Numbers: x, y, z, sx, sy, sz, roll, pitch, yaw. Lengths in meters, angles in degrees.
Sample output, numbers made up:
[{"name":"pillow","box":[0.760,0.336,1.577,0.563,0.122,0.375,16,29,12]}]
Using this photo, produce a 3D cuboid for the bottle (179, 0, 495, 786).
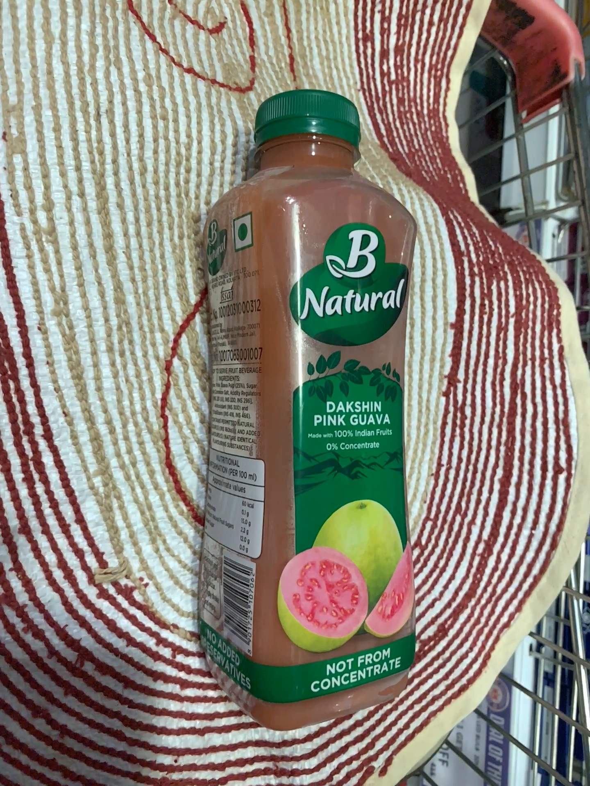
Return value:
[{"name":"bottle","box":[0.012,-0.004,0.200,0.080,0.060,0.210,1,90,-30]}]
